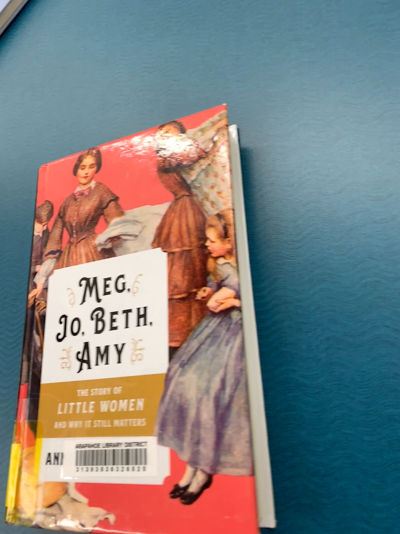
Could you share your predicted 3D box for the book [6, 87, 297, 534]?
[{"bbox_3d":[-0.033,0.023,0.236,0.140,0.040,0.220,-11,70,22],"label":"book"}]
